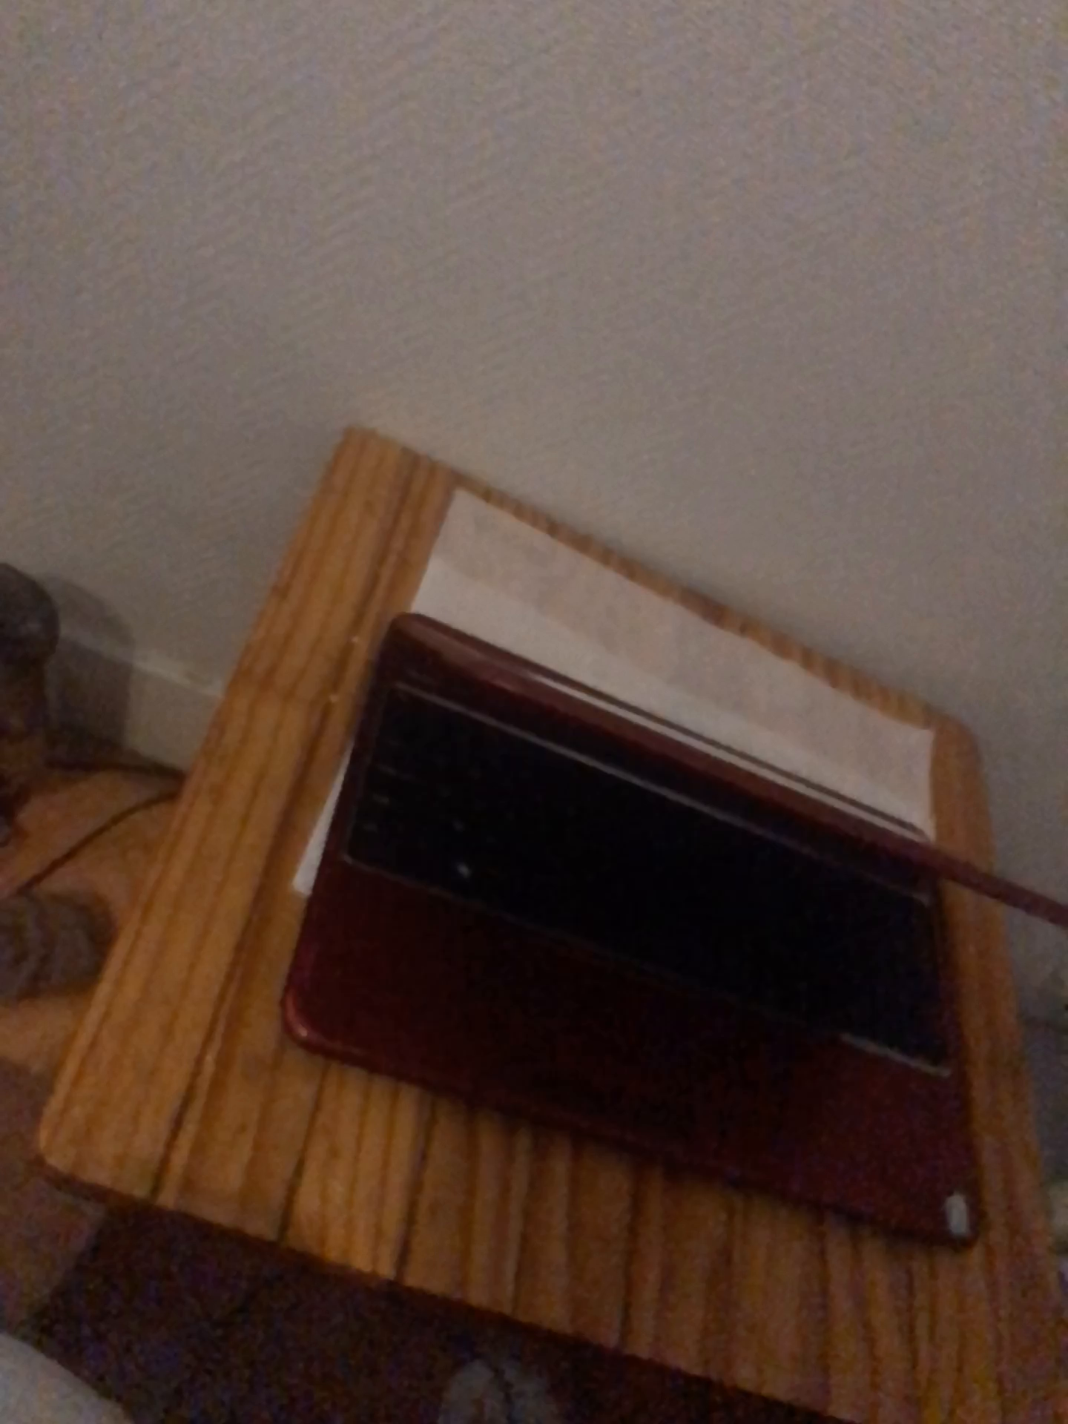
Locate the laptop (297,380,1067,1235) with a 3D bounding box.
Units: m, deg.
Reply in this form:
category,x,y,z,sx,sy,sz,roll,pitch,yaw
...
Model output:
category,x,y,z,sx,sy,sz,roll,pitch,yaw
laptop,0.115,0.059,0.580,0.372,0.168,0.254,24,45,-19
